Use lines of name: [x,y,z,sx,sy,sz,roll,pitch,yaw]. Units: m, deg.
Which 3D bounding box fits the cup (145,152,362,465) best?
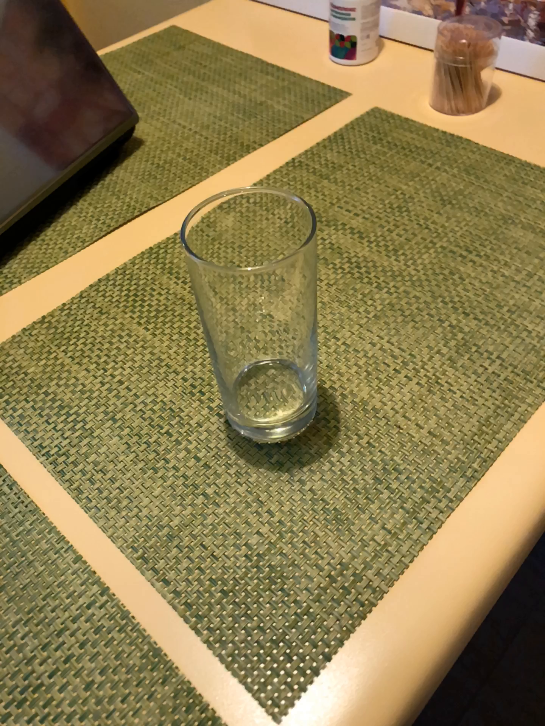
cup: [-0.003,-0.024,0.321,0.070,0.139,0.070,-2,50,3]
